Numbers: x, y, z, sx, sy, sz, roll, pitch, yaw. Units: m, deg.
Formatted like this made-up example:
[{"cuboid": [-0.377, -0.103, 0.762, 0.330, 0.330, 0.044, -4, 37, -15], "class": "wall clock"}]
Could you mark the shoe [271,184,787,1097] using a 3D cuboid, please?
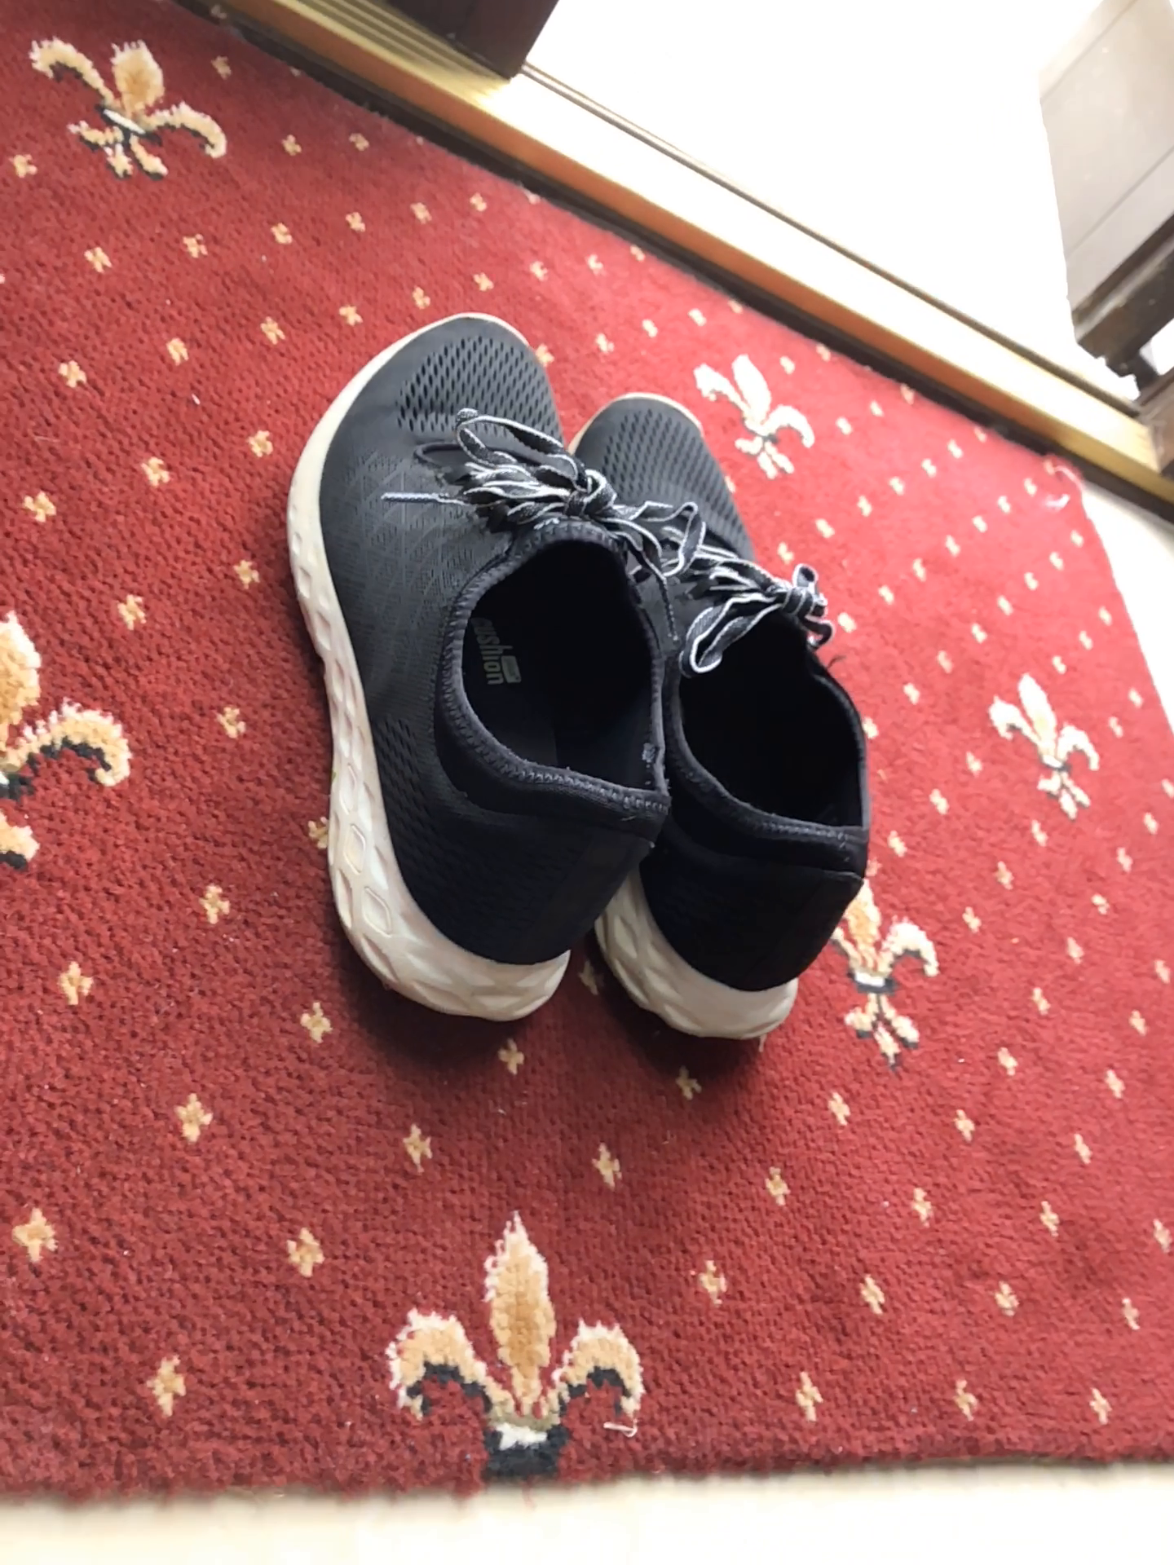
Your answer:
[{"cuboid": [-0.034, -0.050, 0.427, 0.100, 0.109, 0.271, 13, 52, -30], "class": "shoe"}]

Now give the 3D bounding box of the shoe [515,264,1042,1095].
[{"cuboid": [0.051, -0.042, 0.471, 0.100, 0.109, 0.271, 15, 51, -29], "class": "shoe"}]
